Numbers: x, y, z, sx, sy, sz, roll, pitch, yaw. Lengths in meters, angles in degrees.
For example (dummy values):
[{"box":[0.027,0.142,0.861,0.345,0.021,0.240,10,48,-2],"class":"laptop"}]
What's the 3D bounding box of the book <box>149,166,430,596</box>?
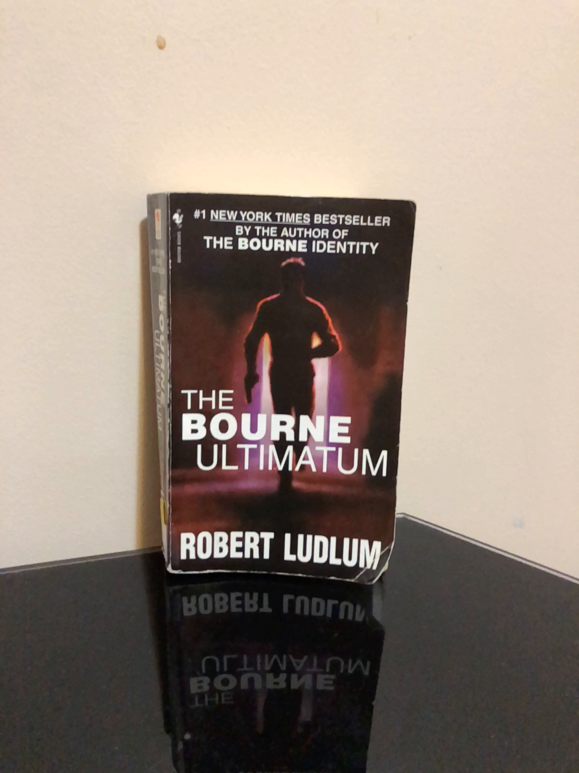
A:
[{"box":[-0.002,-0.005,0.321,0.120,0.190,0.070,-2,9,-7],"class":"book"}]
